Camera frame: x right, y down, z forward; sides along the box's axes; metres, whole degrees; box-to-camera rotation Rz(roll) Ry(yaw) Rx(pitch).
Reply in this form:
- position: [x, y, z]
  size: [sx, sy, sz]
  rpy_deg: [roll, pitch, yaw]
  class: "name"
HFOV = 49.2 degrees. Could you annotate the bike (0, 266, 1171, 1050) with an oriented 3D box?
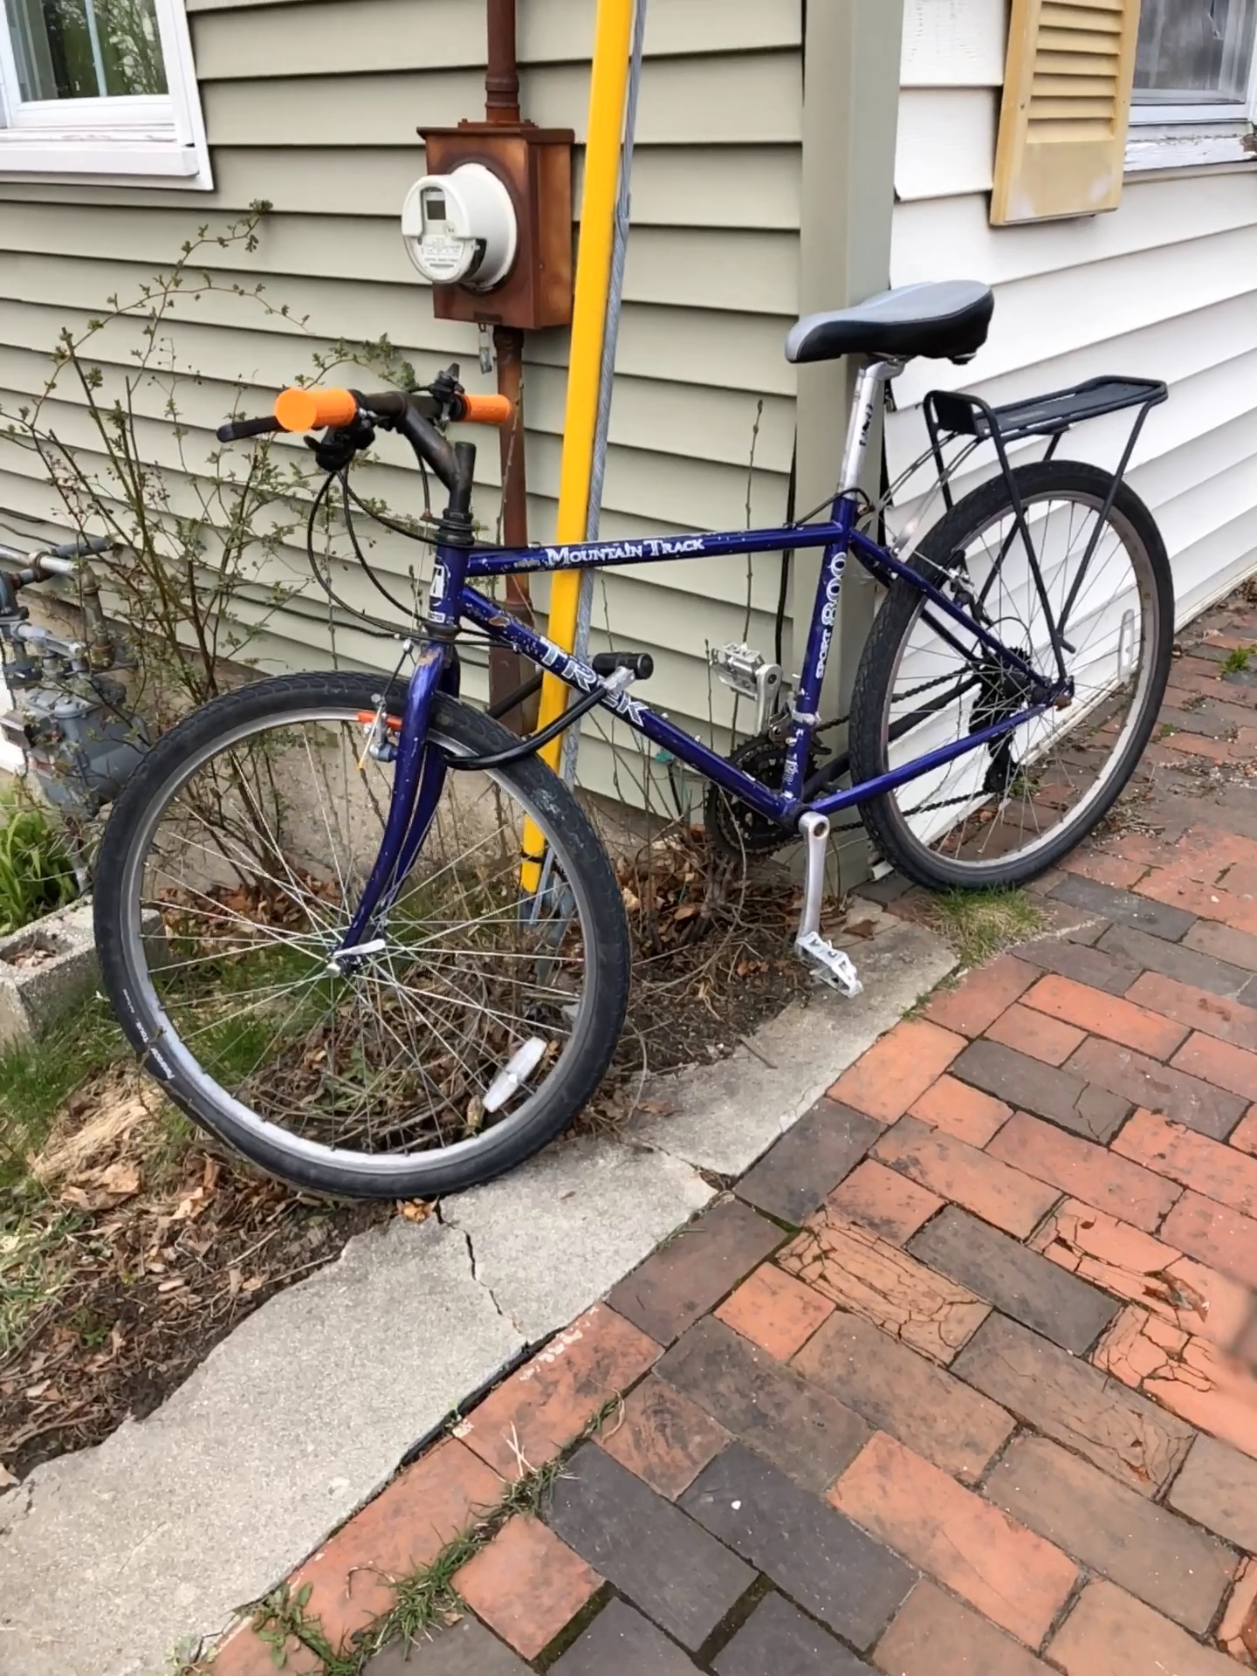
- position: [-0.101, -0.271, 1.695]
  size: [1.147, 0.690, 0.514]
  rpy_deg: [-11, 29, -15]
  class: "bike"
